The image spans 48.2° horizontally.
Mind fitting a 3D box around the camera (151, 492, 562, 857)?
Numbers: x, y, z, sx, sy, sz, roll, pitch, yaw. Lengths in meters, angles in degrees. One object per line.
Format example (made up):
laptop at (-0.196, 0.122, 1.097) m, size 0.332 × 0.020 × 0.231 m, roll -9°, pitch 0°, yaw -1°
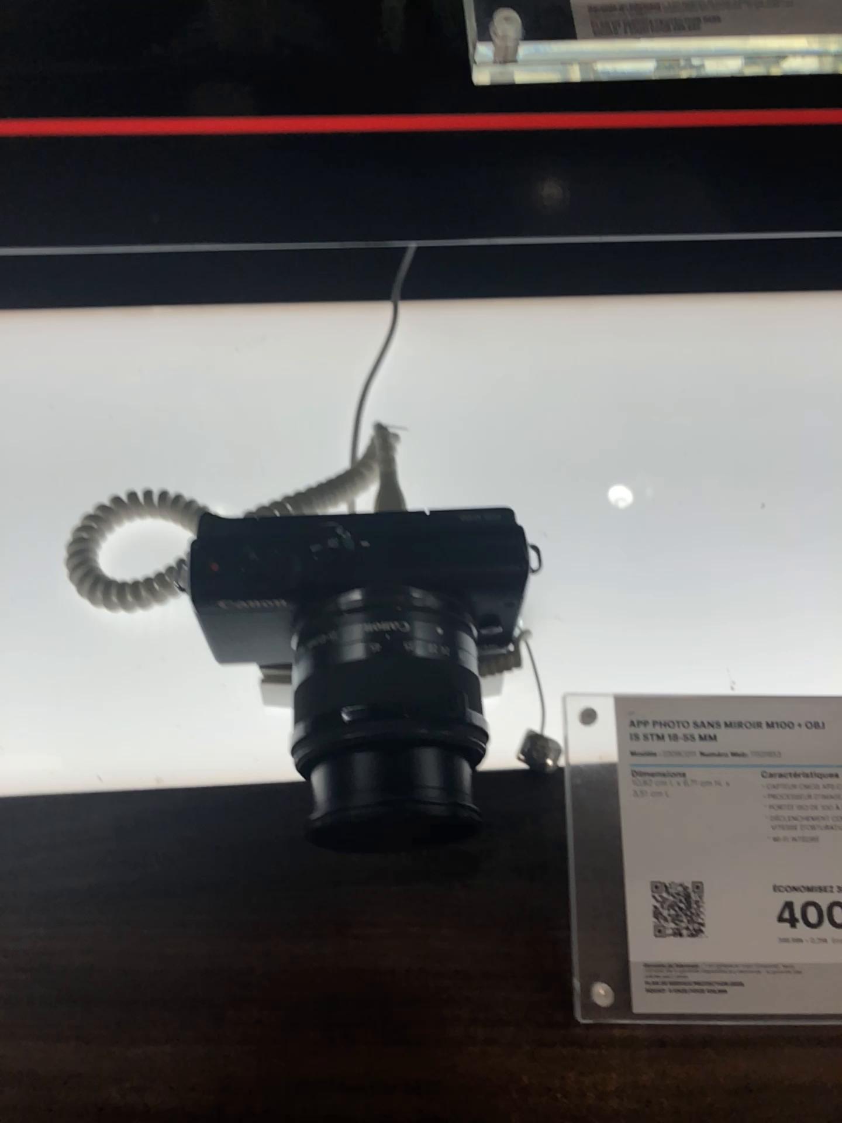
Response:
camera at (-0.020, 0.038, 0.312) m, size 0.112 × 0.071 × 0.094 m, roll -2°, pitch 57°, yaw -2°
